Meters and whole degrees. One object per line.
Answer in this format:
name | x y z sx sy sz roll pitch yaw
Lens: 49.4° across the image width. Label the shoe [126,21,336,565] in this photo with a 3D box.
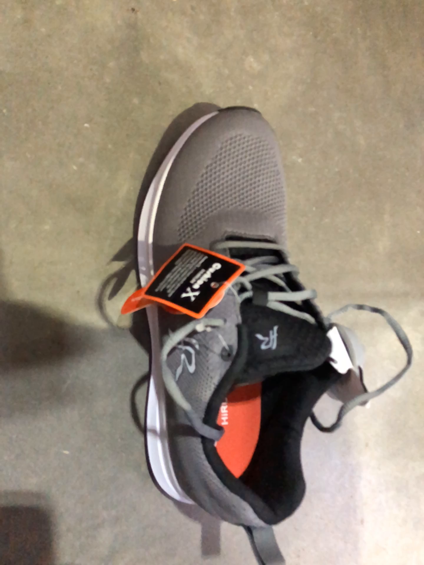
shoe | 0.008 0.007 0.338 0.110 0.100 0.320 0 87 -29
